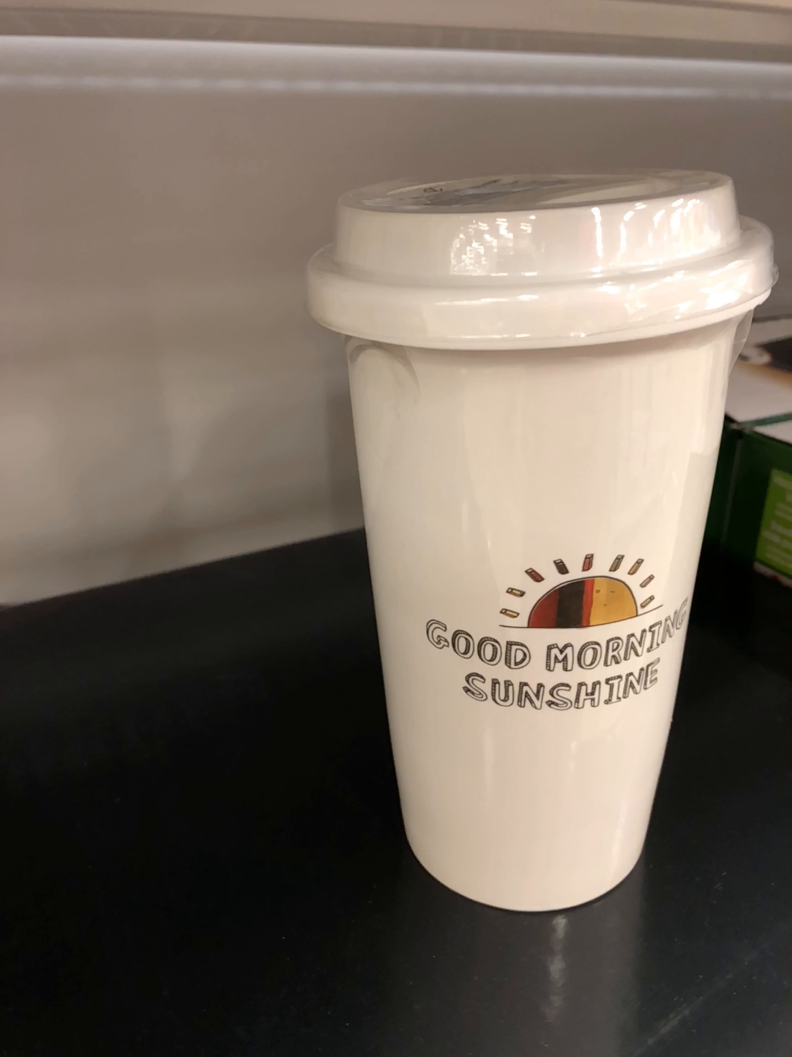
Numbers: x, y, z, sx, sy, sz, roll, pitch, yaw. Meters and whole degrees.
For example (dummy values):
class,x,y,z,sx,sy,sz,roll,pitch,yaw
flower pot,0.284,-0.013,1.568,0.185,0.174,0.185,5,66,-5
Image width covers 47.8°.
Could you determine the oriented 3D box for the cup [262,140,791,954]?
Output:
class,x,y,z,sx,sy,sz,roll,pitch,yaw
cup,0.038,-0.006,0.207,0.100,0.149,0.100,0,25,0
